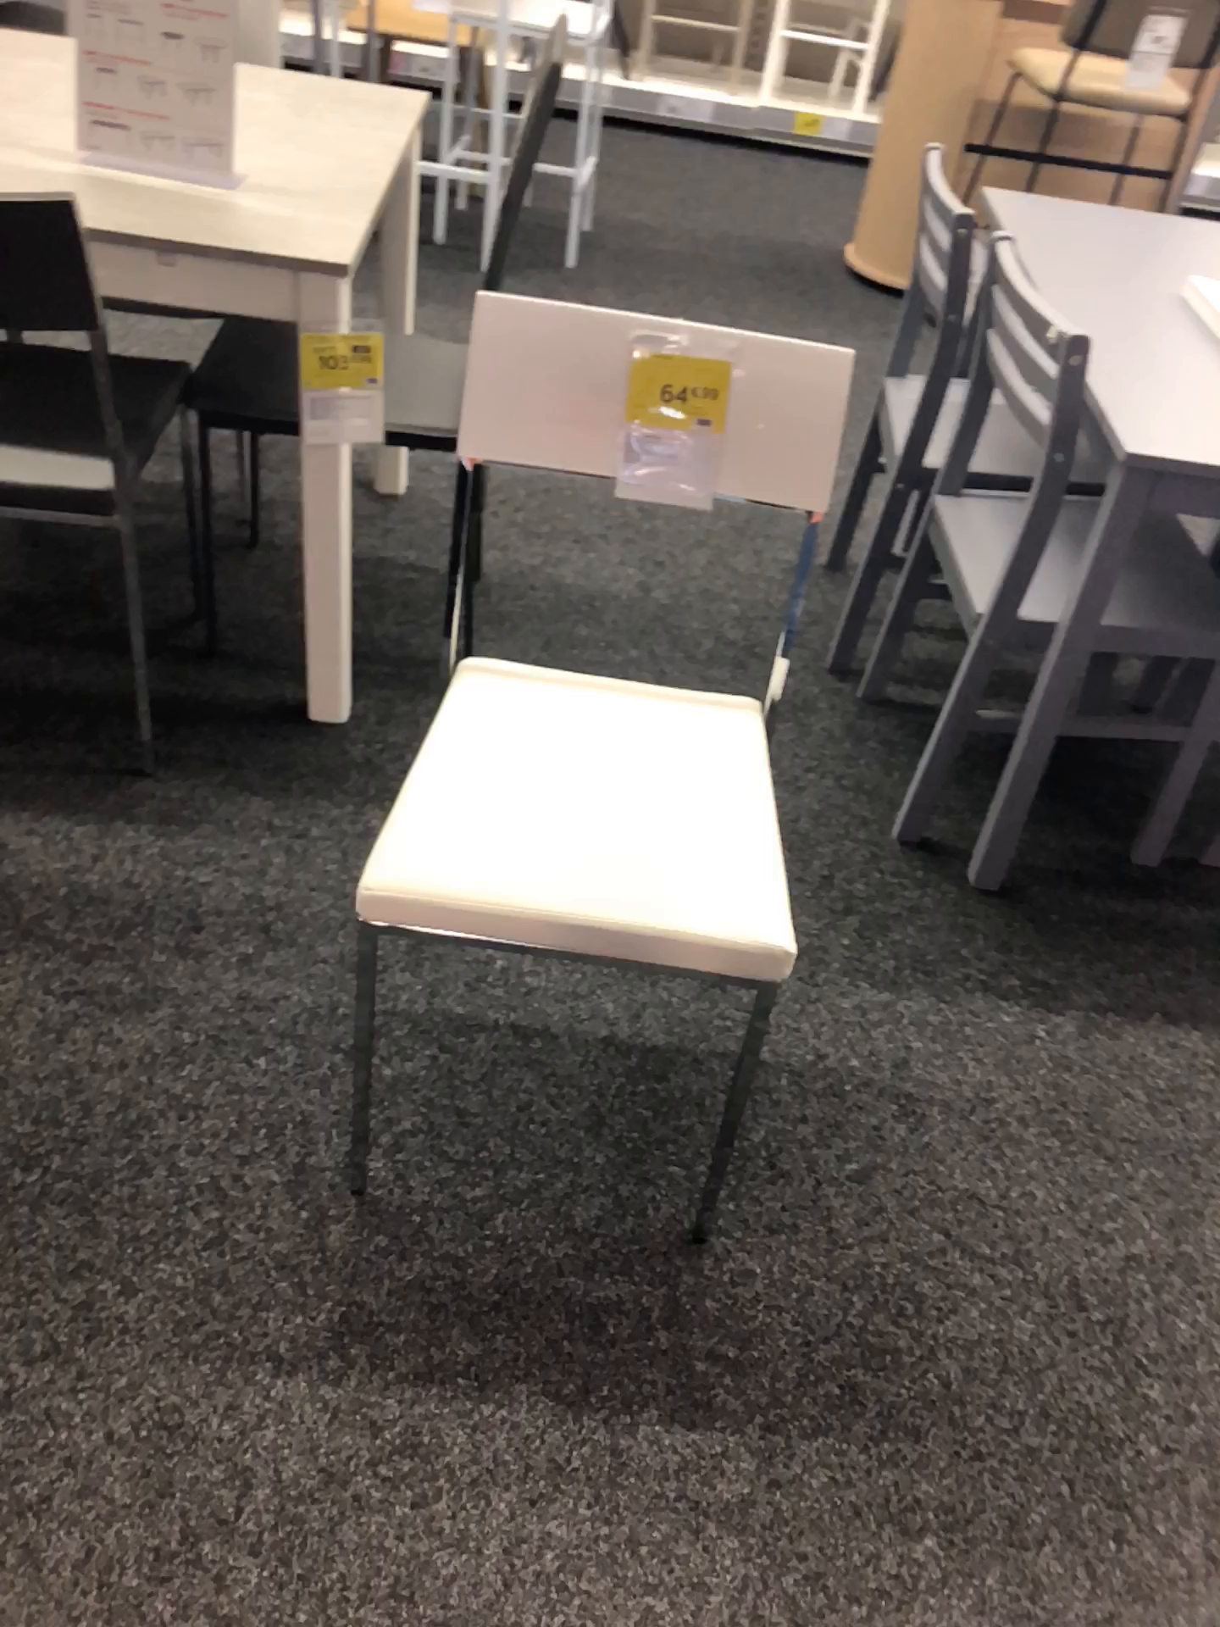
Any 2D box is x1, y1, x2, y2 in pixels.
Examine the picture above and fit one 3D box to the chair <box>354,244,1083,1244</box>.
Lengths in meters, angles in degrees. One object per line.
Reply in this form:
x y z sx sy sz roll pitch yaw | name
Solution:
0.041 -0.049 1.389 0.500 0.815 0.543 7 39 -3 | chair
